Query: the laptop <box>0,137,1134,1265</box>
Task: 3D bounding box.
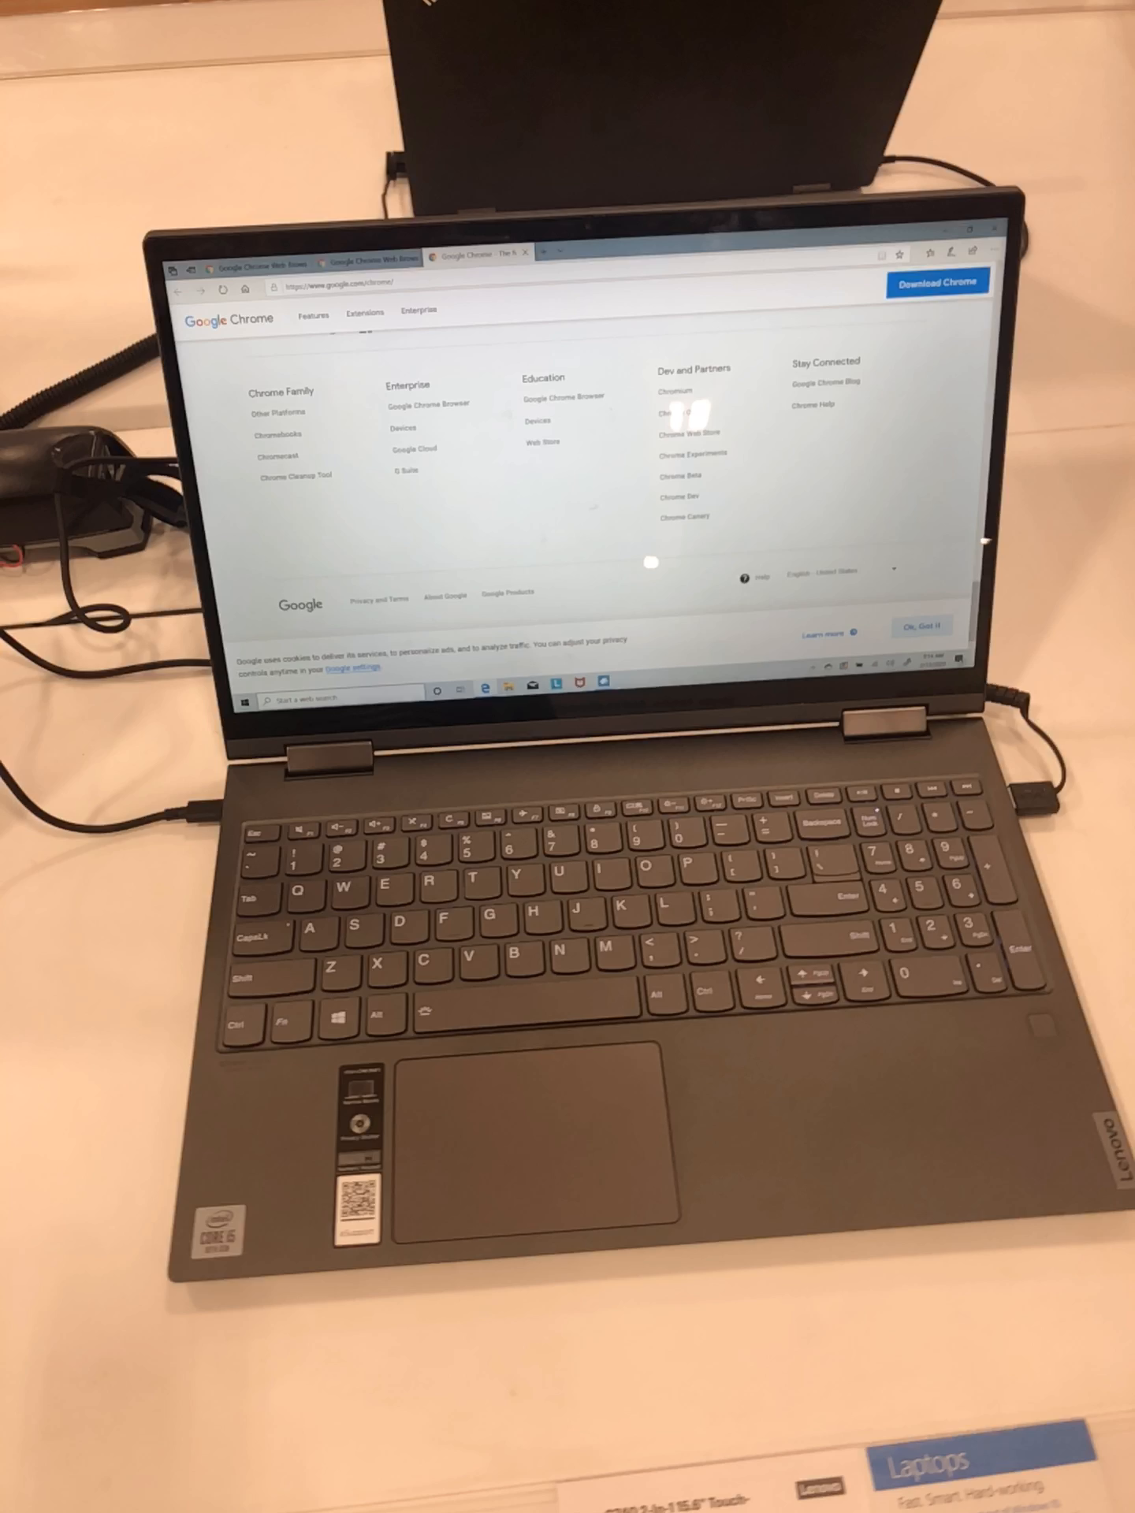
[{"bbox_3d":[0.020,-0.033,0.481,0.352,0.179,0.365,-3,58,-2],"label":"laptop"}]
